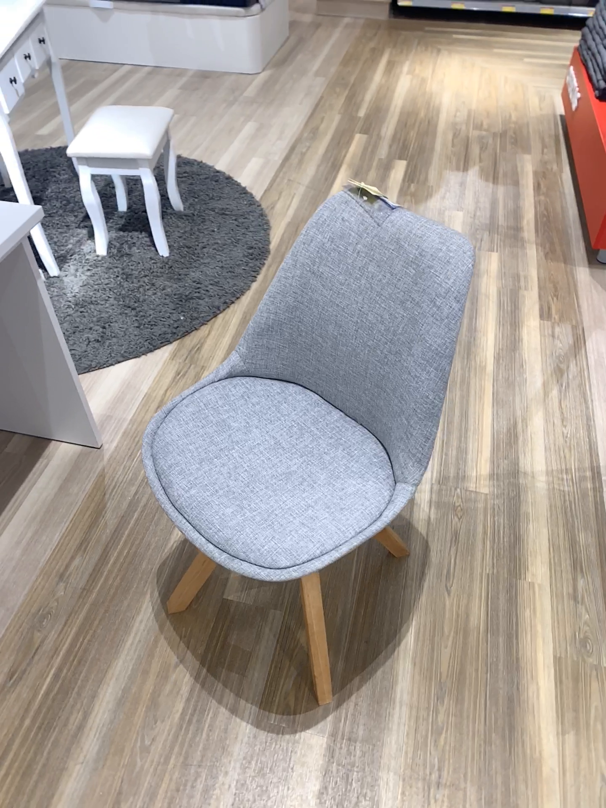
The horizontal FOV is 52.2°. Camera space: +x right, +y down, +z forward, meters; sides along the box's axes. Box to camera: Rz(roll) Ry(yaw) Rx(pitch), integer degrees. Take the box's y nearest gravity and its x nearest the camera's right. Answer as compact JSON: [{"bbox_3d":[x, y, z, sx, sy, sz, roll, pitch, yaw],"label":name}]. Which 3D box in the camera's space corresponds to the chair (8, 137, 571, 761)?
[{"bbox_3d":[-0.017,0.105,1.104,0.516,0.856,0.515,-36,55,-30],"label":"chair"}]
